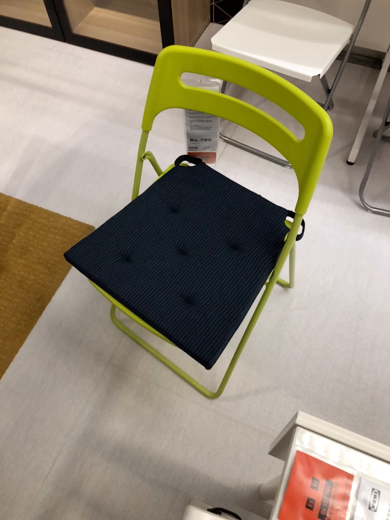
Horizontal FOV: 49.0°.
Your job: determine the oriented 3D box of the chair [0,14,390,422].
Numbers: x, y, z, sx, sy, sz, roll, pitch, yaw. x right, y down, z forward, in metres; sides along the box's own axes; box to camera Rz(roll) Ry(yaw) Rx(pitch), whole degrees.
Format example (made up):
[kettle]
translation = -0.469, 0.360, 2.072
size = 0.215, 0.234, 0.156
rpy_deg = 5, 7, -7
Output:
[chair]
translation = -0.005, -0.042, 0.956
size = 0.491, 0.637, 0.461
rpy_deg = 33, 67, 19
